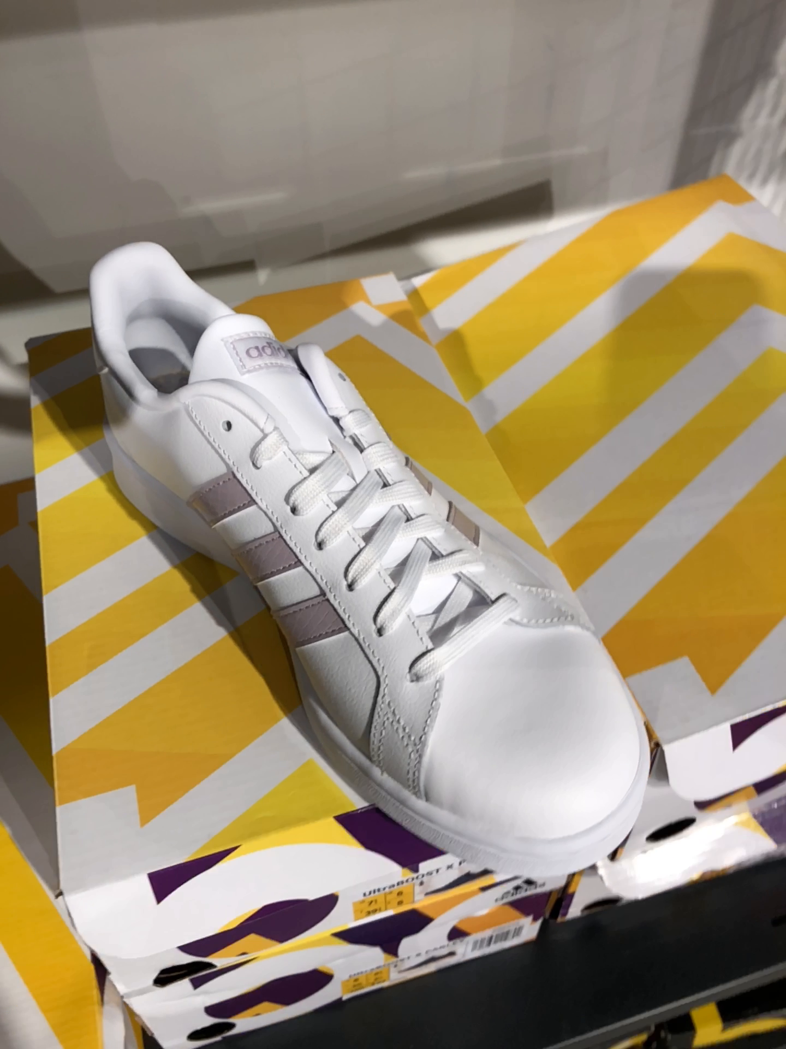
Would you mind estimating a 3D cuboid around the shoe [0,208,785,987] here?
[{"bbox_3d":[-0.019,-0.002,0.324,0.110,0.090,0.291,-33,55,-25],"label":"shoe"}]
